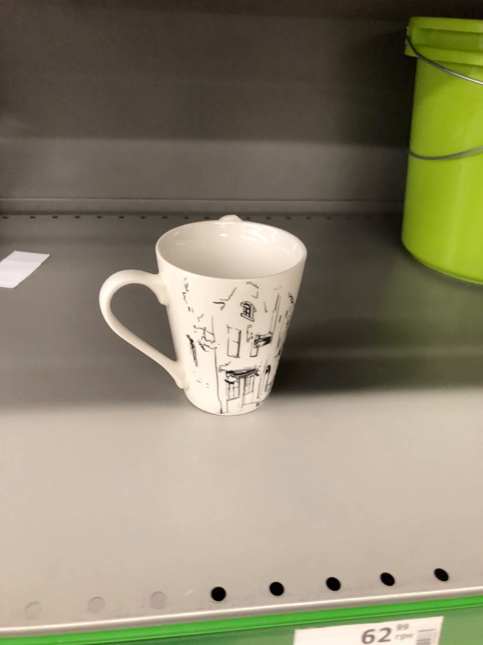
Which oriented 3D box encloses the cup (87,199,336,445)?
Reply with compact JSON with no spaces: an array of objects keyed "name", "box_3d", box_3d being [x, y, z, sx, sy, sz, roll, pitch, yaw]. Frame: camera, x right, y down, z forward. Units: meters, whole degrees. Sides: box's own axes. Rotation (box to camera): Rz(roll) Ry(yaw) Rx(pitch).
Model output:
[{"name":"cup","box_3d":[-0.022,-0.008,0.319,0.114,0.098,0.091,-9,32,-19]}]
